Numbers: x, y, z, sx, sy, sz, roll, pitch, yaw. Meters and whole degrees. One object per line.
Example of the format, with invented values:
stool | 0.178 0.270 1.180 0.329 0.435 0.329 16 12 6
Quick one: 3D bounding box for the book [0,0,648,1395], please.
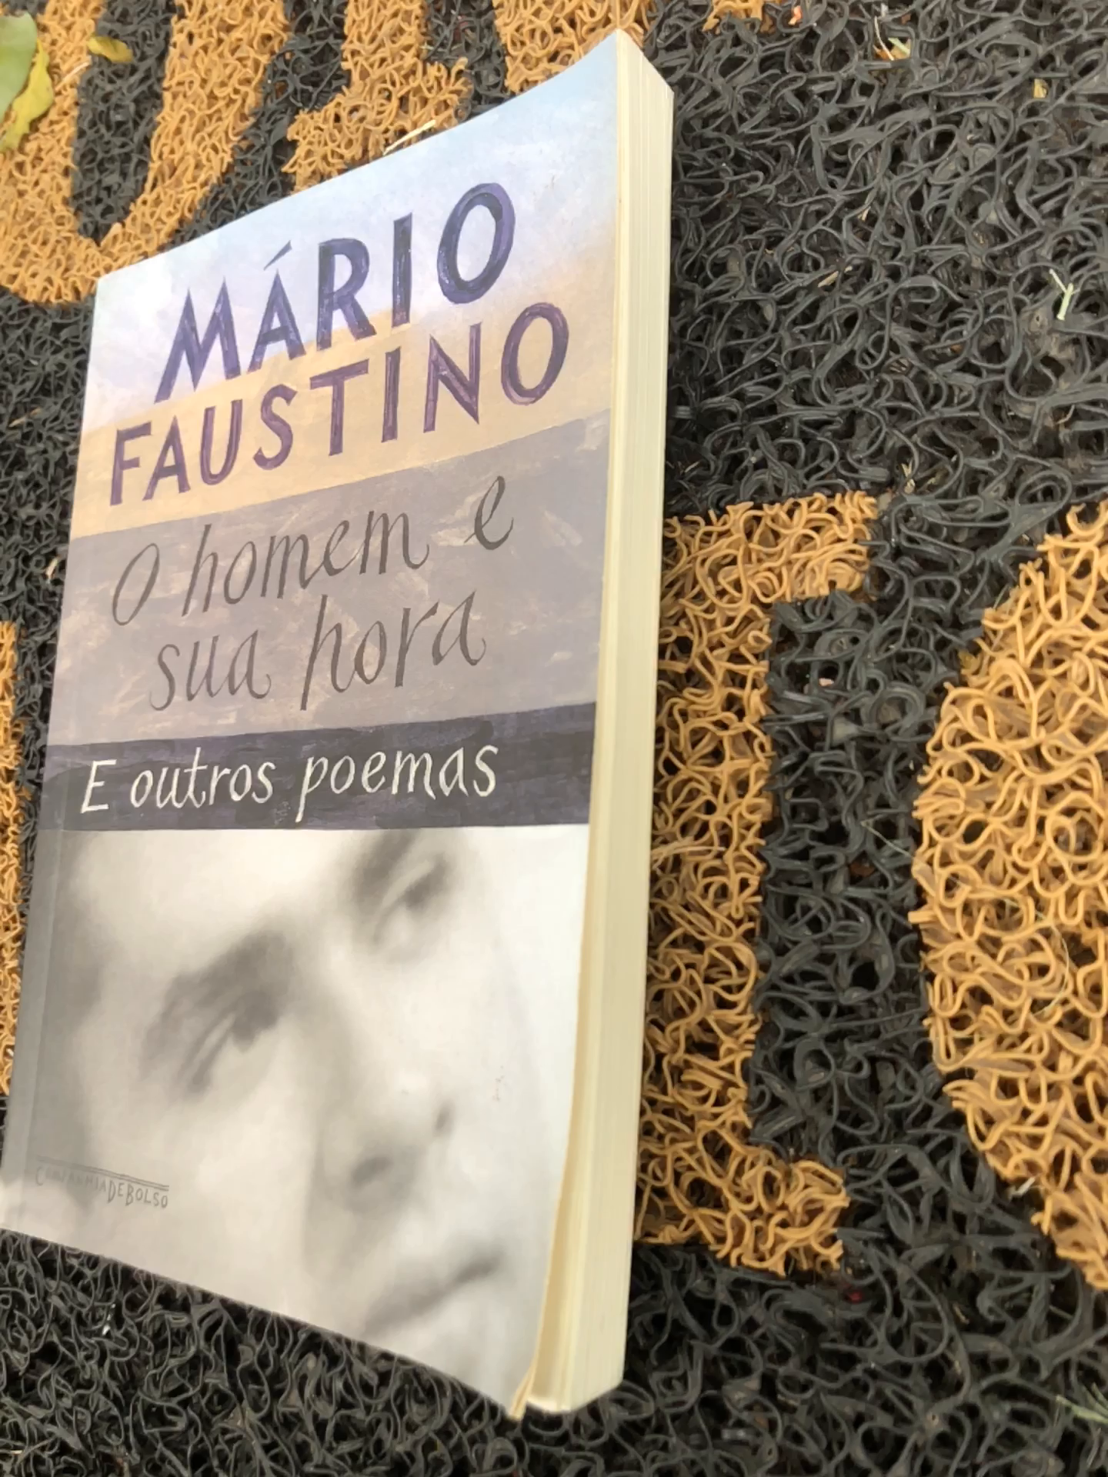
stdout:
book | -0.048 -0.011 0.190 0.125 0.020 0.174 -3 79 36
